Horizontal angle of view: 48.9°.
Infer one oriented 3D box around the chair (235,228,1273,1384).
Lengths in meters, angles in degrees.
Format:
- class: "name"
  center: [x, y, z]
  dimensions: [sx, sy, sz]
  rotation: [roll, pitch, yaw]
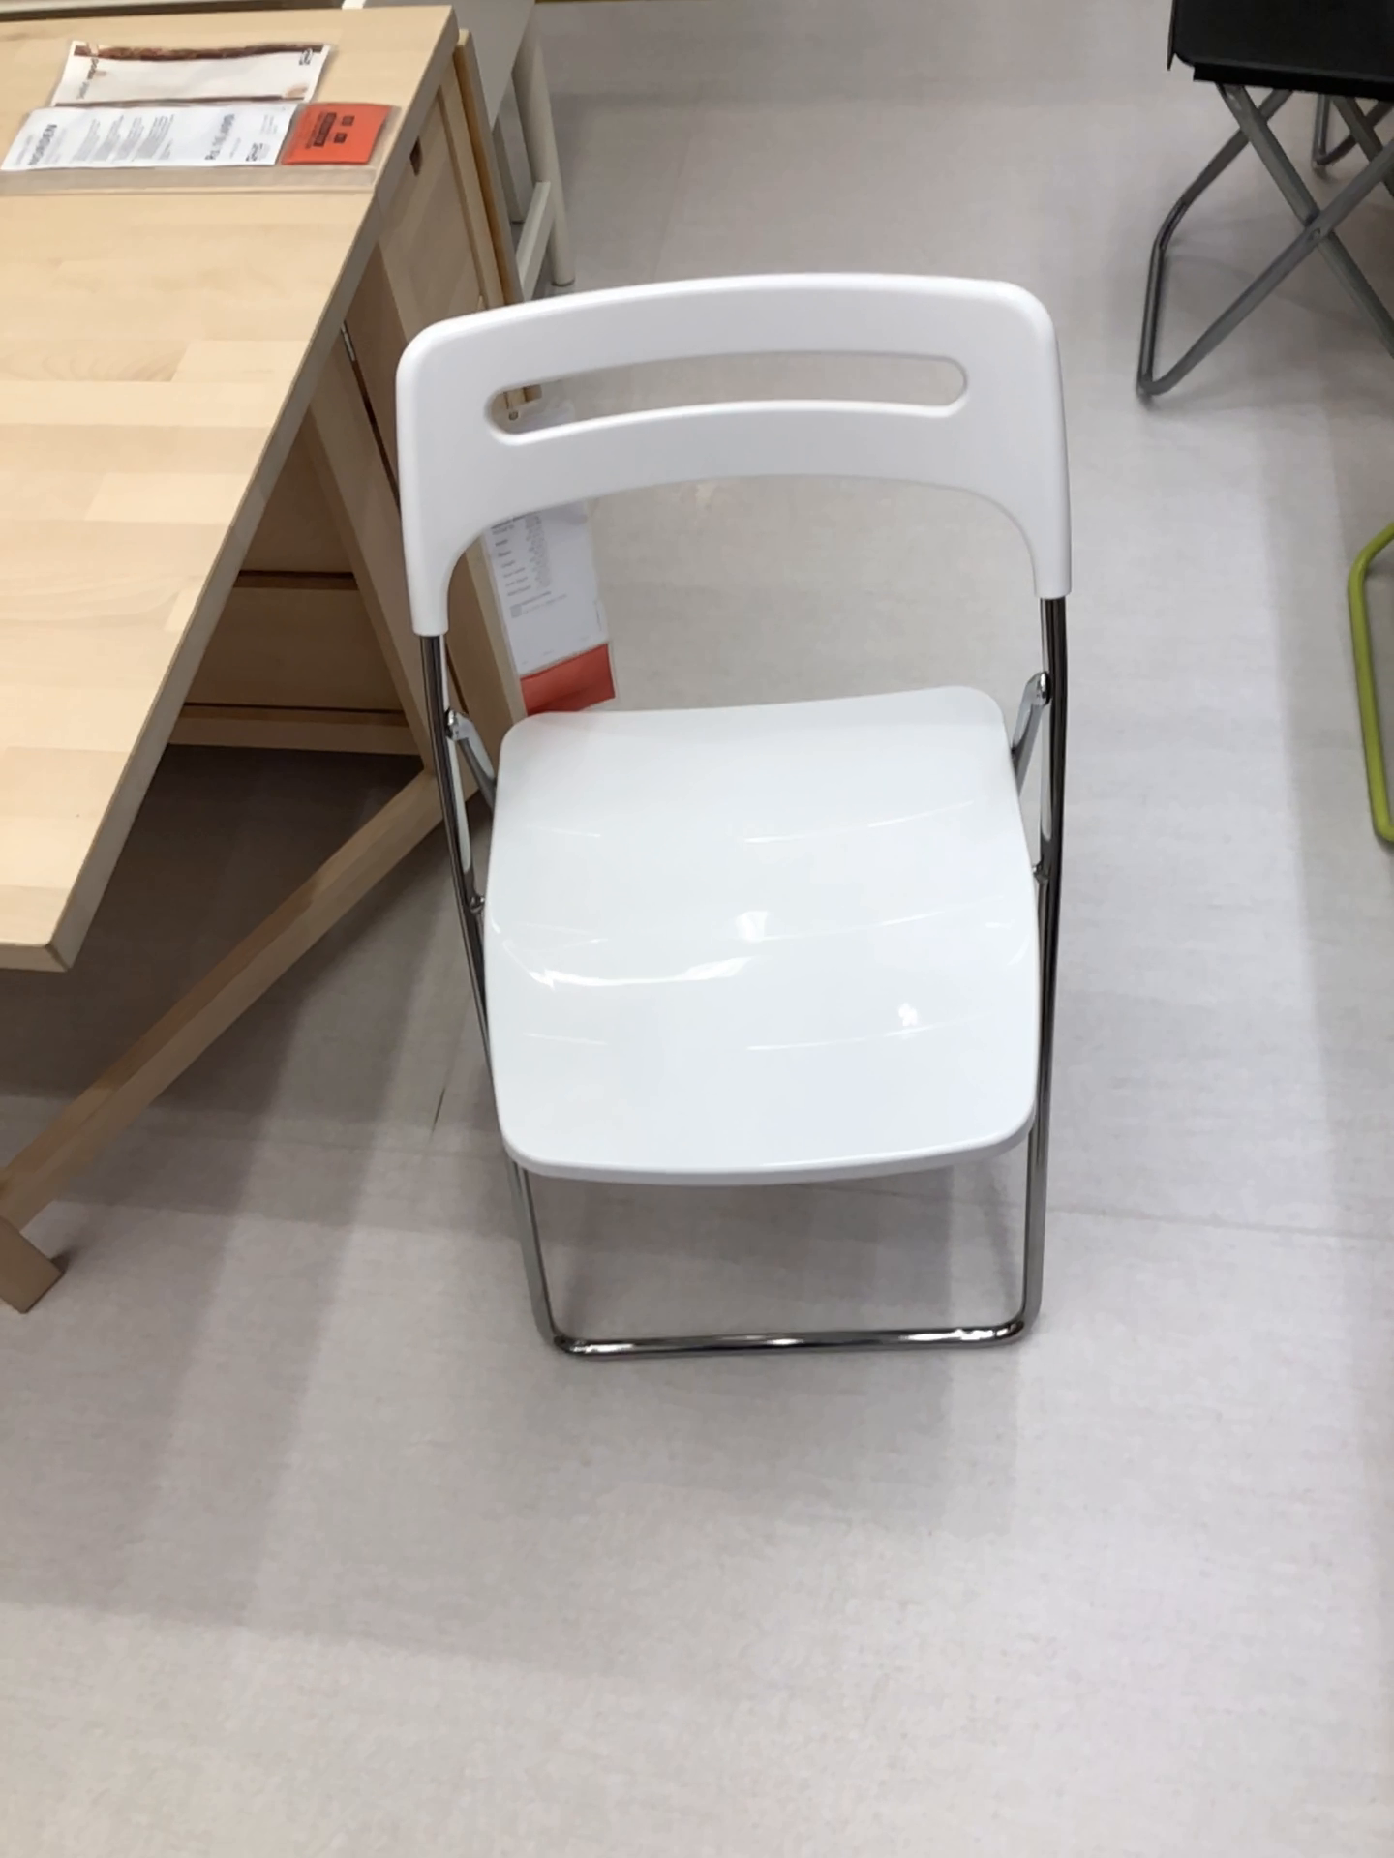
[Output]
- class: "chair"
  center: [0.049, -0.013, 1.063]
  dimensions: [0.440, 0.716, 0.422]
  rotation: [-3, 56, 4]
